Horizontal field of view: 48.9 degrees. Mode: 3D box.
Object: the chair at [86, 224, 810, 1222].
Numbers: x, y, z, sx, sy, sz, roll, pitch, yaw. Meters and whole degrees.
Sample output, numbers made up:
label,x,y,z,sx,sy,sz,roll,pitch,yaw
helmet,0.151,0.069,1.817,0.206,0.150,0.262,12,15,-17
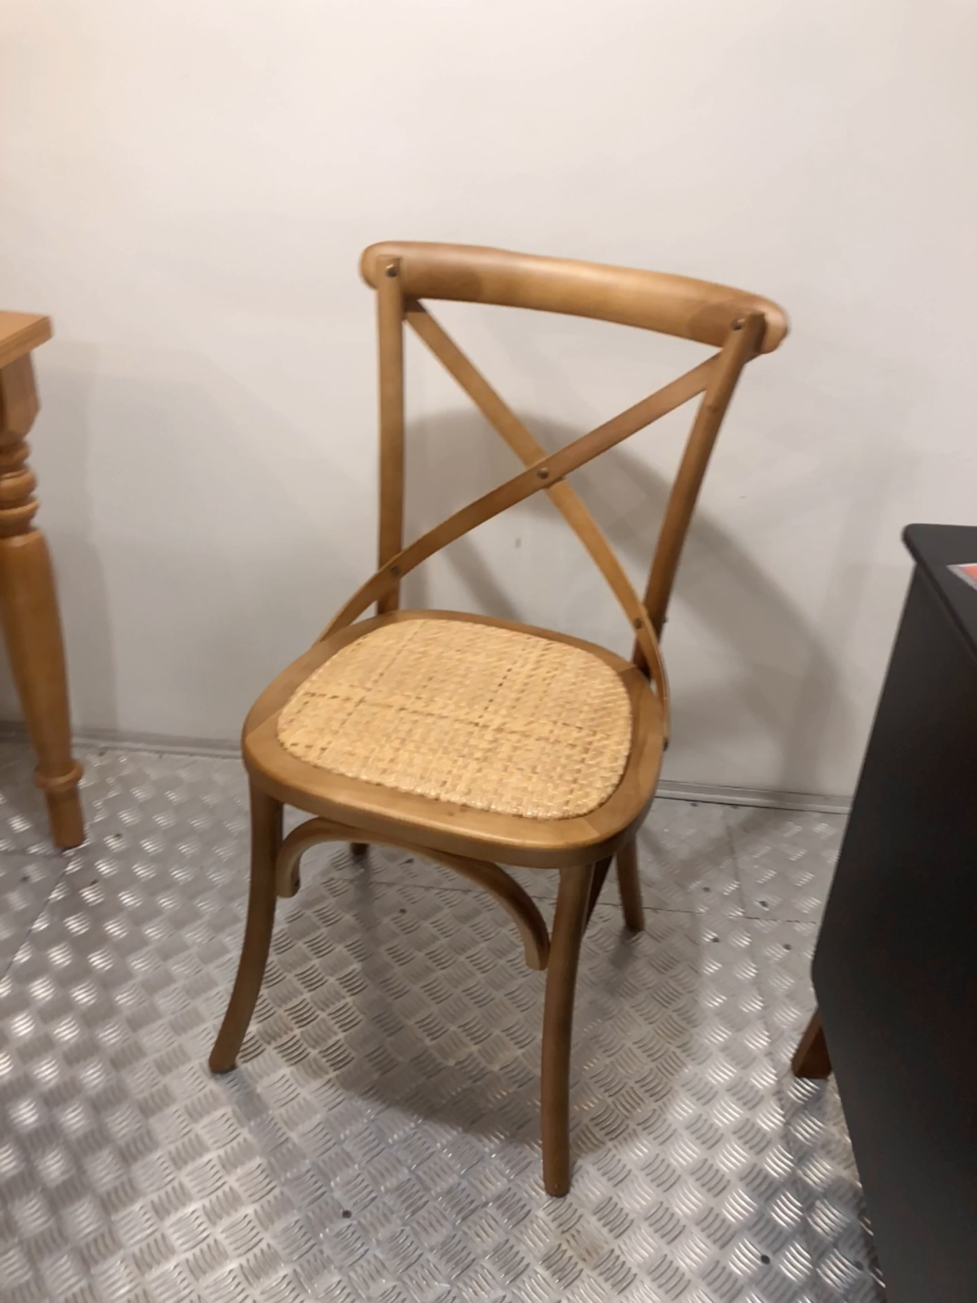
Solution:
label,x,y,z,sx,sy,sz,roll,pitch,yaw
chair,-0.010,0.048,1.214,0.500,0.873,0.544,14,32,16
